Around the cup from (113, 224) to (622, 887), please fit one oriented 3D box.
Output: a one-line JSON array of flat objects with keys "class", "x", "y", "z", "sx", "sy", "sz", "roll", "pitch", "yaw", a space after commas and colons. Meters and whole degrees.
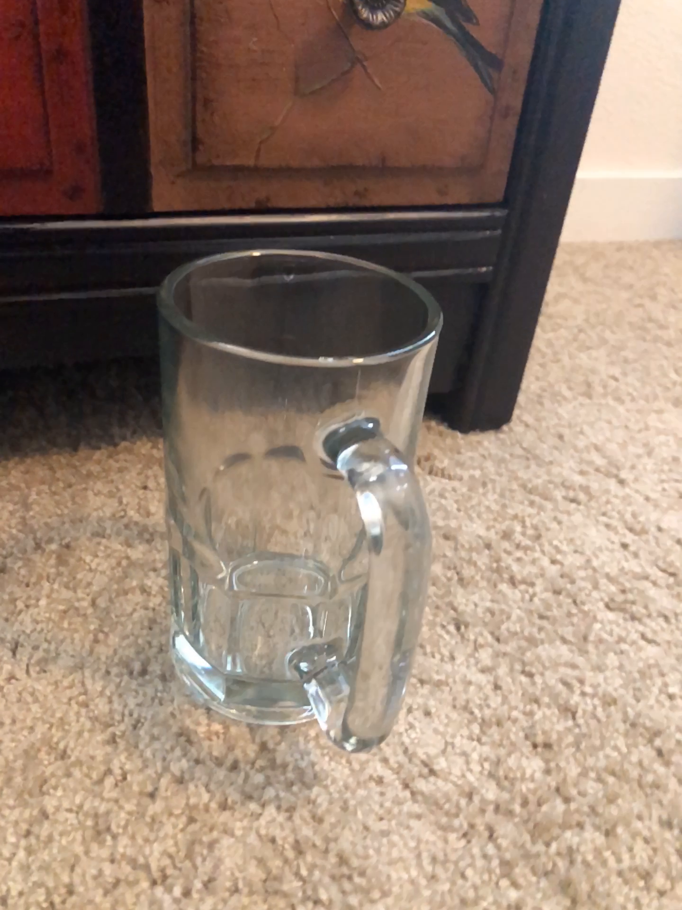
[{"class": "cup", "x": -0.012, "y": 0.020, "z": 0.254, "sx": 0.096, "sy": 0.156, "sz": 0.134, "roll": -7, "pitch": 34, "yaw": -25}]
